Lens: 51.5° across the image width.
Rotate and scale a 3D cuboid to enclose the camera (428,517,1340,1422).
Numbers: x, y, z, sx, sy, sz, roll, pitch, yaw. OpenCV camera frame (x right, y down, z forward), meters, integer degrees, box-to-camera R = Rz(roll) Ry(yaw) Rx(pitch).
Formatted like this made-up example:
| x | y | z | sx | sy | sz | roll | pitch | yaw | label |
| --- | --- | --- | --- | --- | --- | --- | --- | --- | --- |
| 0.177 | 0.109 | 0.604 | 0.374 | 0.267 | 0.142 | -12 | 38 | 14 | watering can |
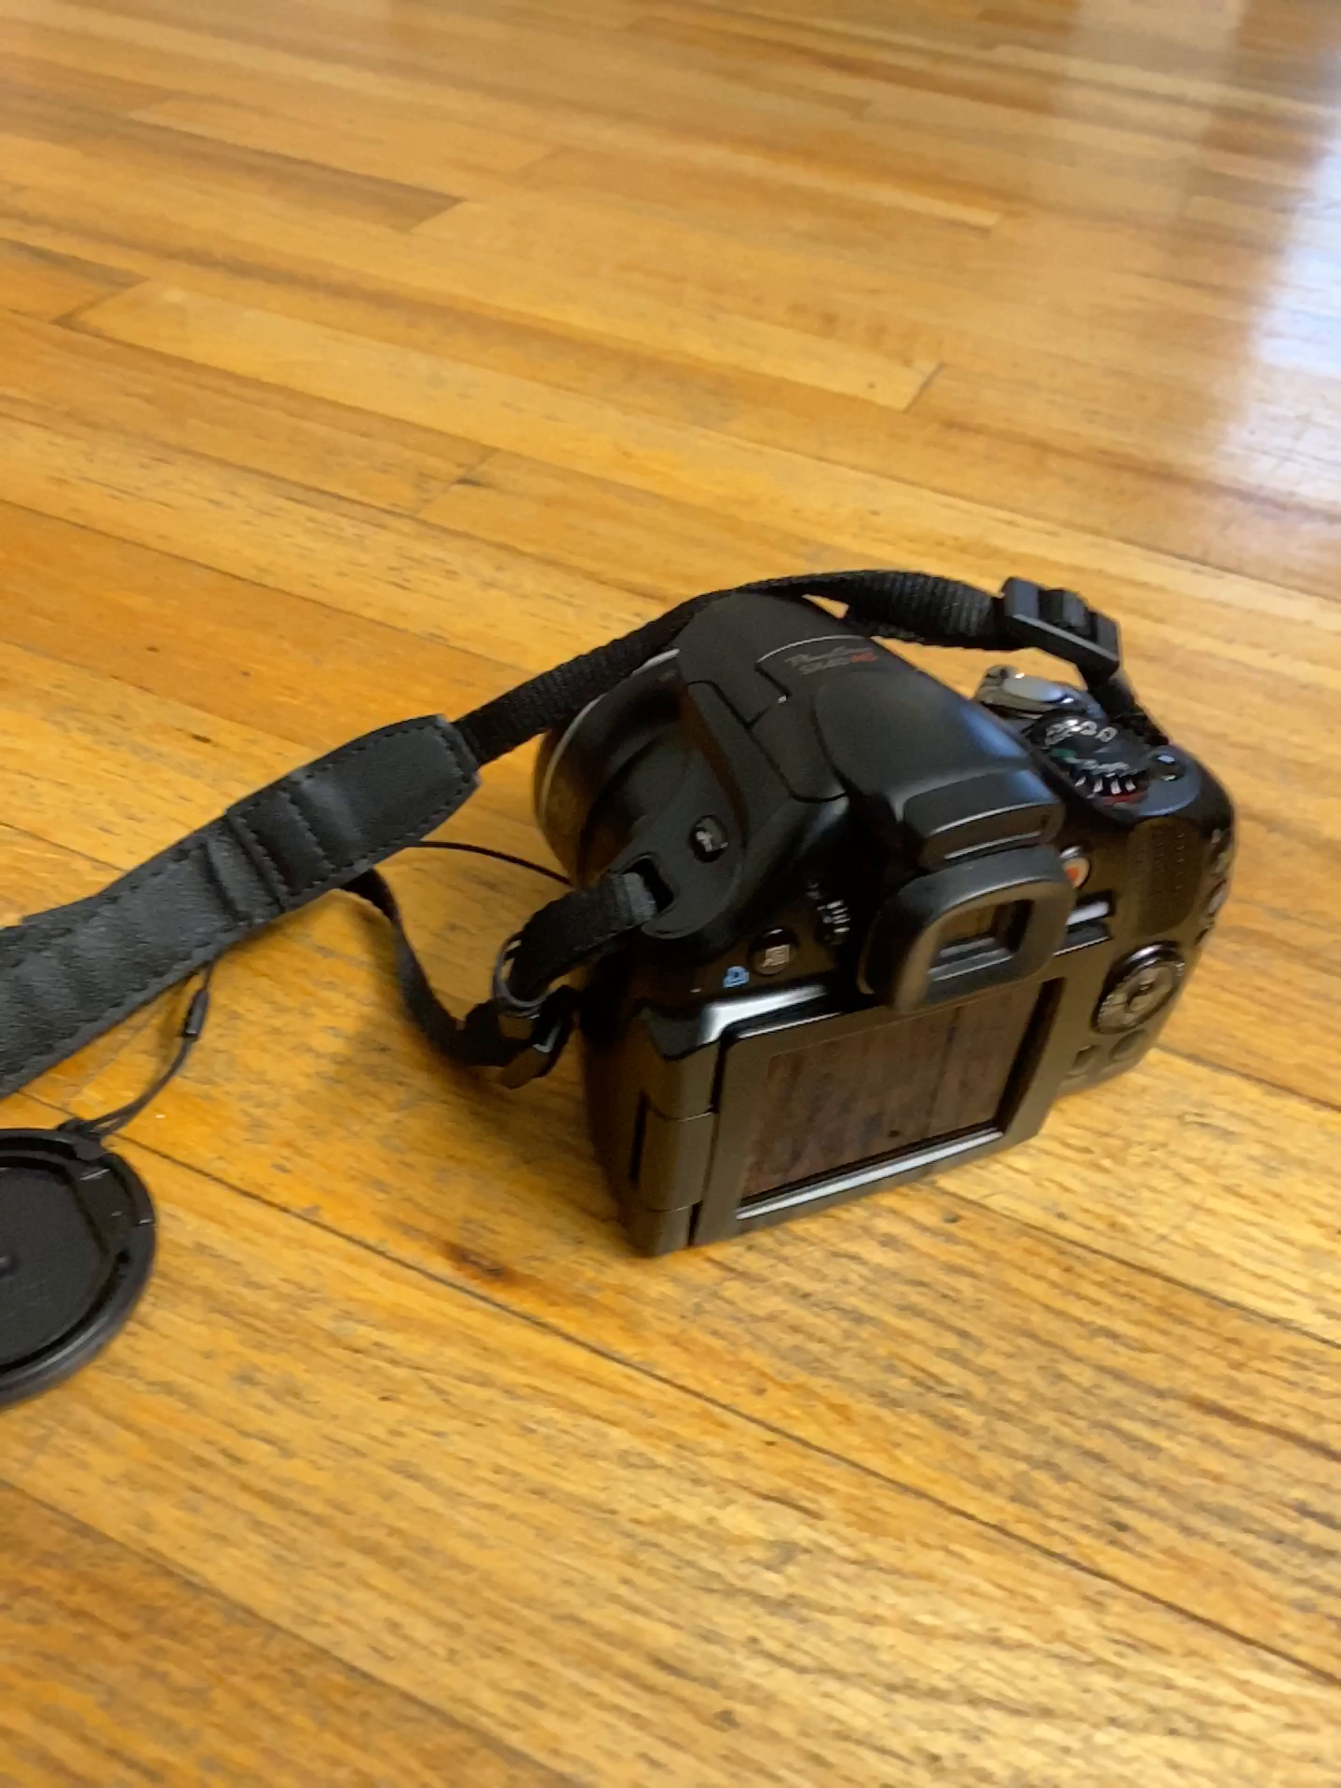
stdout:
| x | y | z | sx | sy | sz | roll | pitch | yaw | label |
| --- | --- | --- | --- | --- | --- | --- | --- | --- | --- |
| 0.030 | 0.004 | 0.261 | 0.120 | 0.089 | 0.121 | -11 | 45 | -20 | camera |
